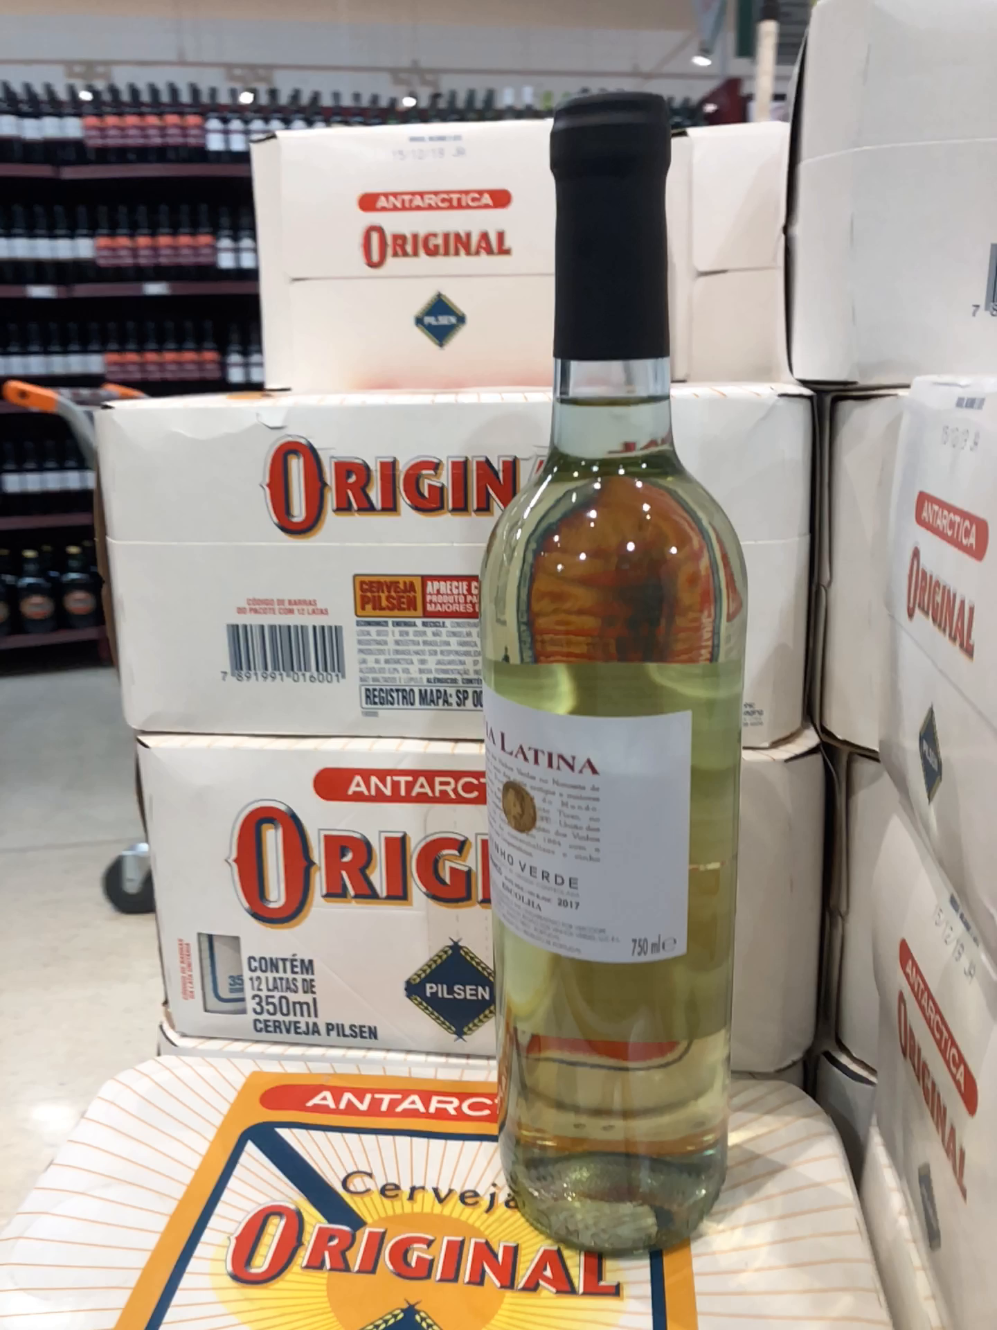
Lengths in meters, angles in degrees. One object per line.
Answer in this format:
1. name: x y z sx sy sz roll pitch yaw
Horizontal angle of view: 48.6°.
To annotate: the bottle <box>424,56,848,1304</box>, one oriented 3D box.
1. bottle: 0.032 0.011 0.314 0.070 0.308 0.080 -9 17 -32
